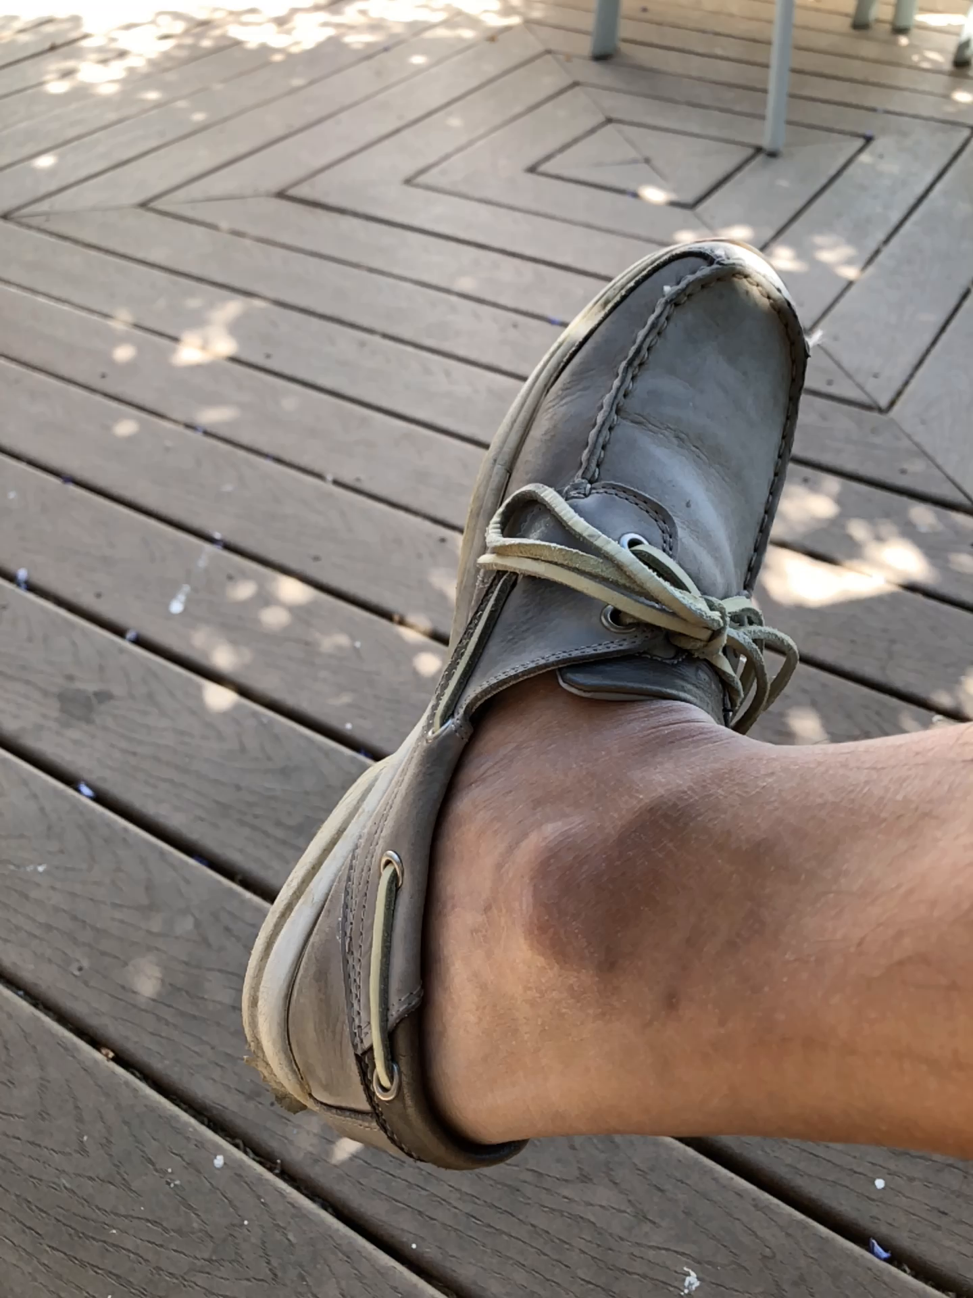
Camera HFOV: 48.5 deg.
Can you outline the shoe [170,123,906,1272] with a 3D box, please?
[{"bbox_3d":[0.036,0.003,0.354,0.083,0.116,0.327,-3,58,49],"label":"shoe"}]
